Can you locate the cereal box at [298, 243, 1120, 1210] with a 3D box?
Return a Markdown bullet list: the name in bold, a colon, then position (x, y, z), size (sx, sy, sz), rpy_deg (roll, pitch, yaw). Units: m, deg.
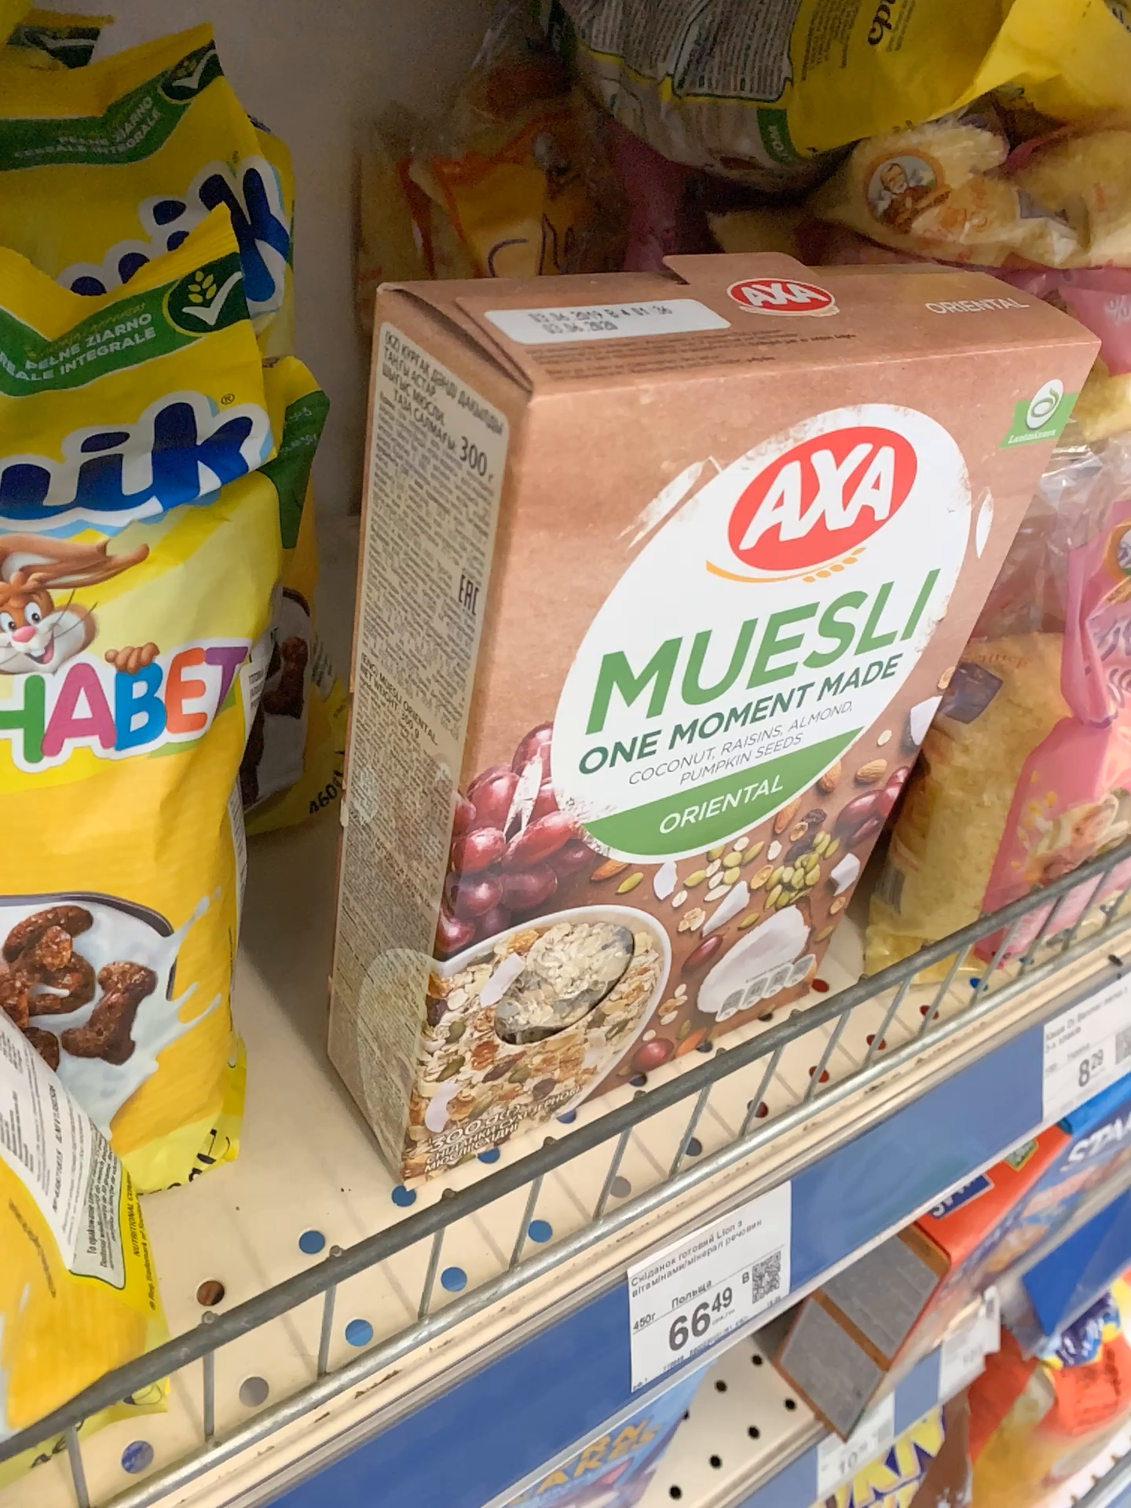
- **cereal box**: position (0.019, -0.001, 0.284), size (0.150, 0.218, 0.050), rpy_deg (-16, 46, -31)
